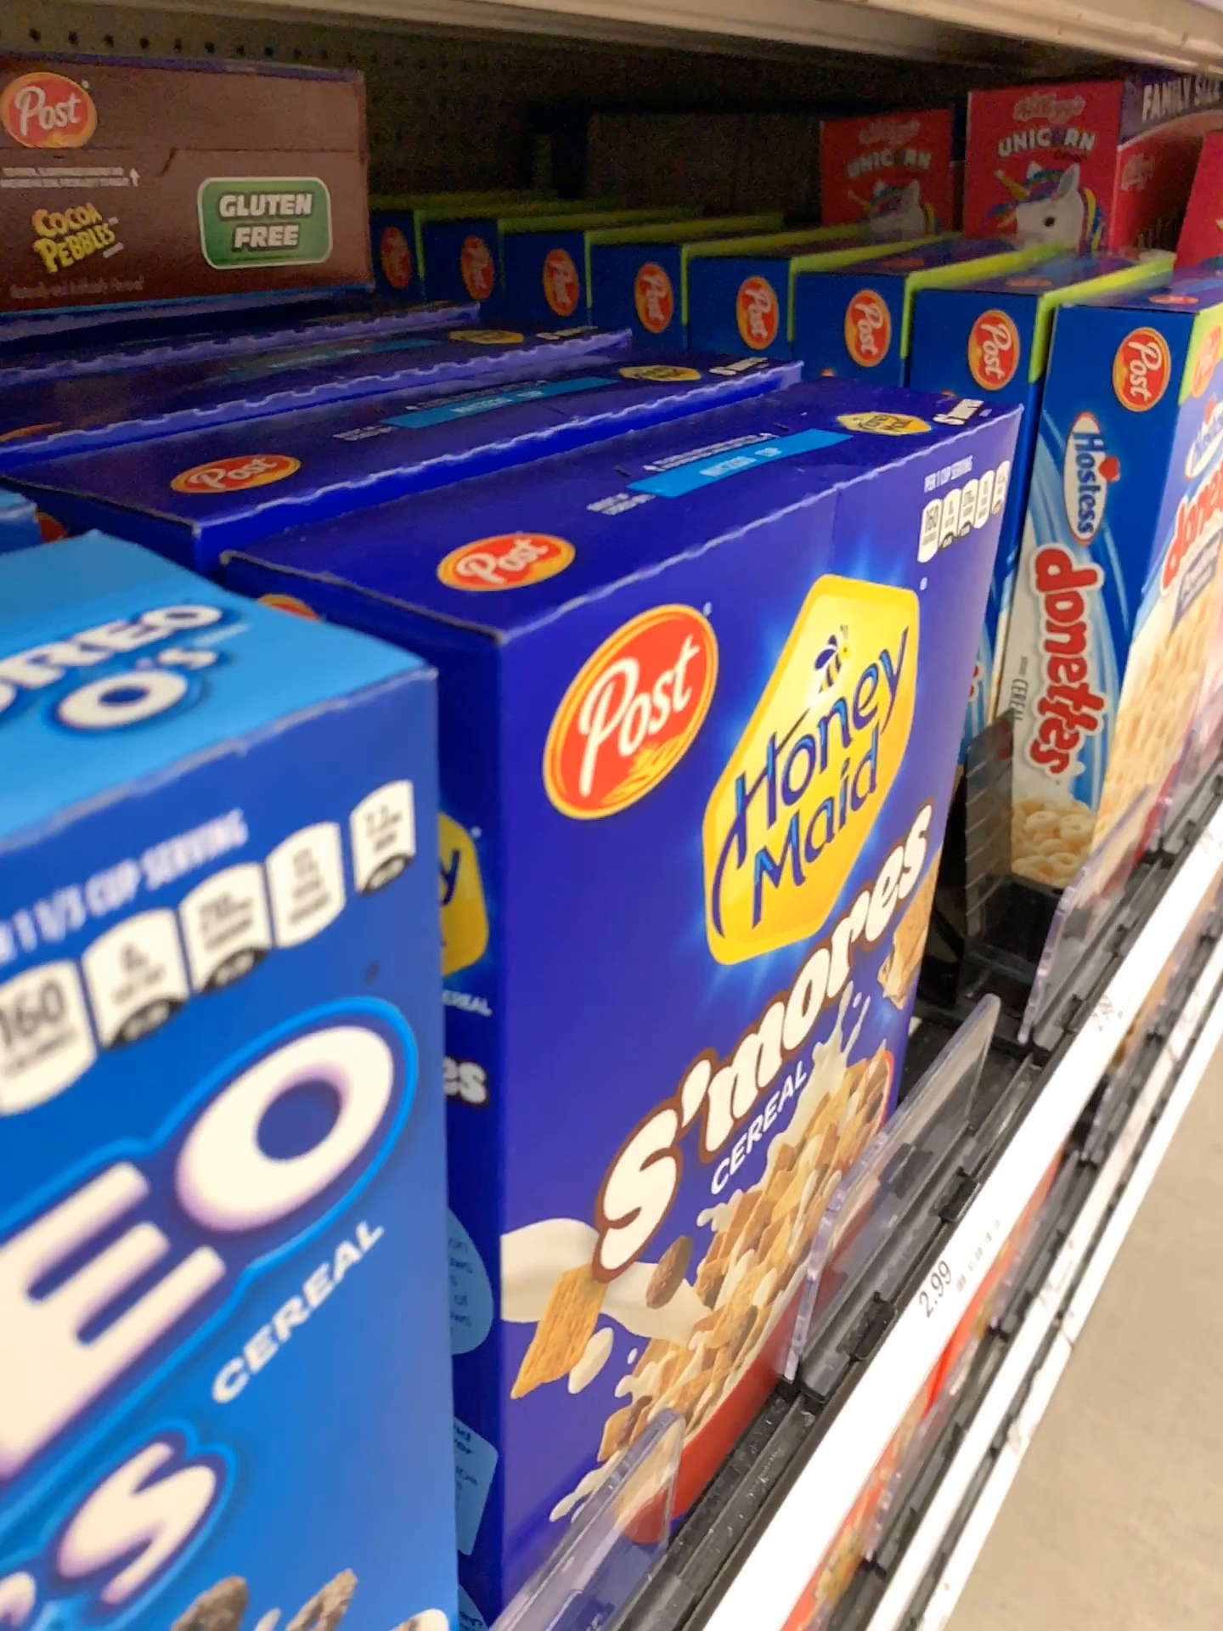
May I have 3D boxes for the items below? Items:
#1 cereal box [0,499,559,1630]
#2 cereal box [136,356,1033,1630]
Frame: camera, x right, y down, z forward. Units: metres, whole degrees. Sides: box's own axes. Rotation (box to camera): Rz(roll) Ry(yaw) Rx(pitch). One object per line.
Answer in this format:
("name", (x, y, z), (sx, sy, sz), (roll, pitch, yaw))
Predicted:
("cereal box", (-0.088, 0.120, 0.154), (0.070, 0.269, 0.181), (19, 33, 28))
("cereal box", (0.010, 0.049, 0.294), (0.060, 0.269, 0.191), (21, 34, 31))
